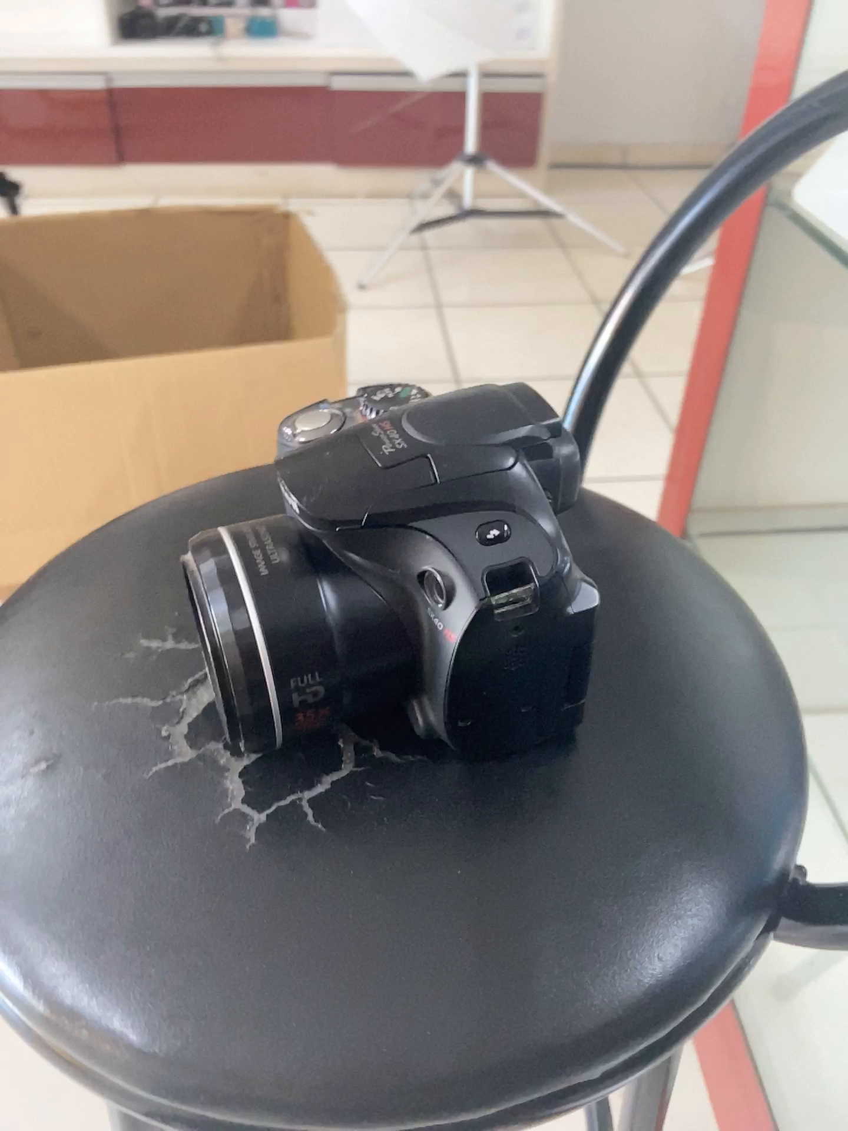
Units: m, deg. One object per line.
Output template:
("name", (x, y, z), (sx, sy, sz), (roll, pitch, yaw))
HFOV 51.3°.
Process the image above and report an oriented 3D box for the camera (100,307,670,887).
("camera", (-0.018, -0.002, 0.259), (0.110, 0.089, 0.121), (-16, 41, -20))
